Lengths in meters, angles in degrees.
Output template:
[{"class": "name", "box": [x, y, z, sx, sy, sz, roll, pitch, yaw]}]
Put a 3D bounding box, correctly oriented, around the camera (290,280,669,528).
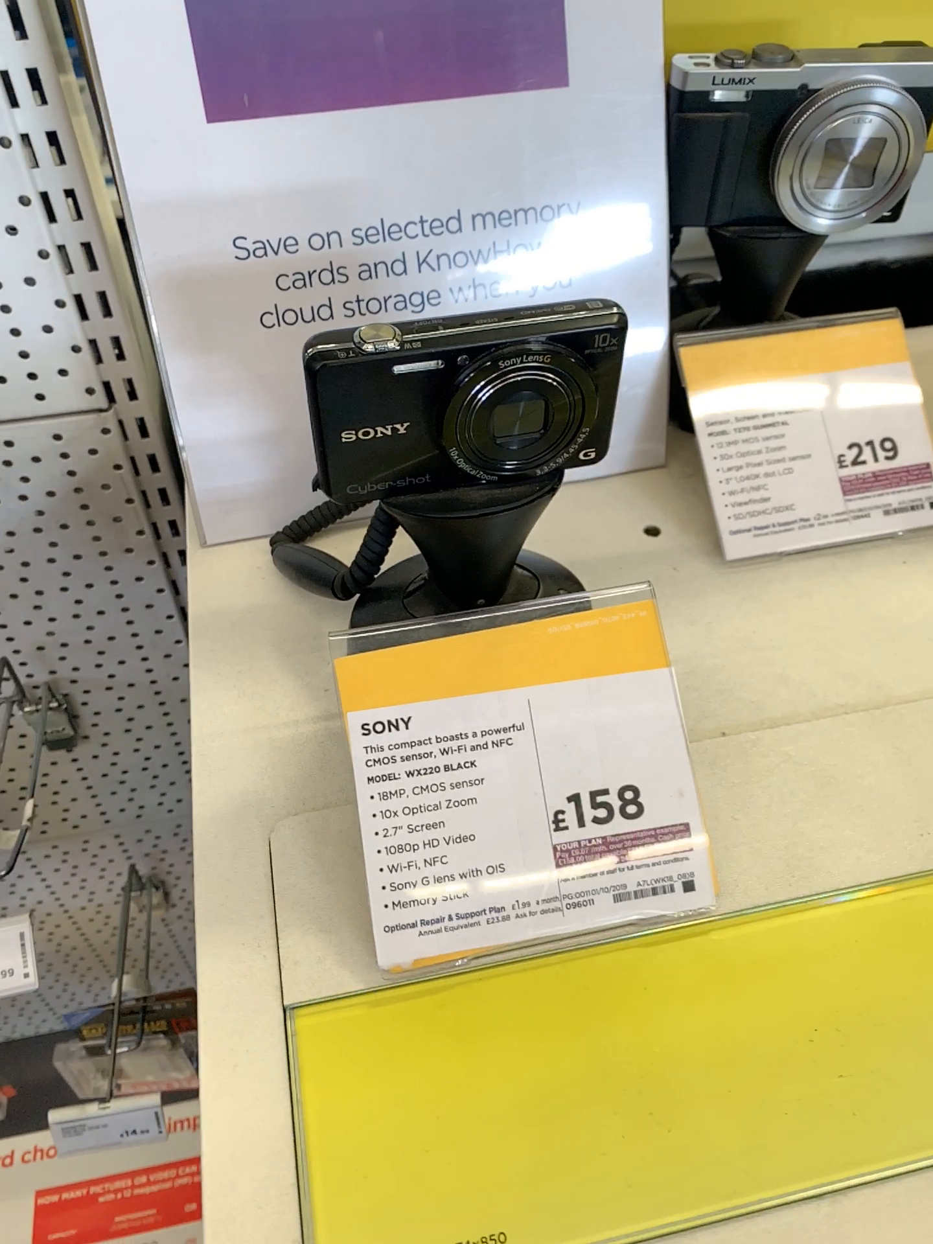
[{"class": "camera", "box": [0.003, -0.064, 0.284, 0.100, 0.050, 0.030, -10, 49, -9]}]
